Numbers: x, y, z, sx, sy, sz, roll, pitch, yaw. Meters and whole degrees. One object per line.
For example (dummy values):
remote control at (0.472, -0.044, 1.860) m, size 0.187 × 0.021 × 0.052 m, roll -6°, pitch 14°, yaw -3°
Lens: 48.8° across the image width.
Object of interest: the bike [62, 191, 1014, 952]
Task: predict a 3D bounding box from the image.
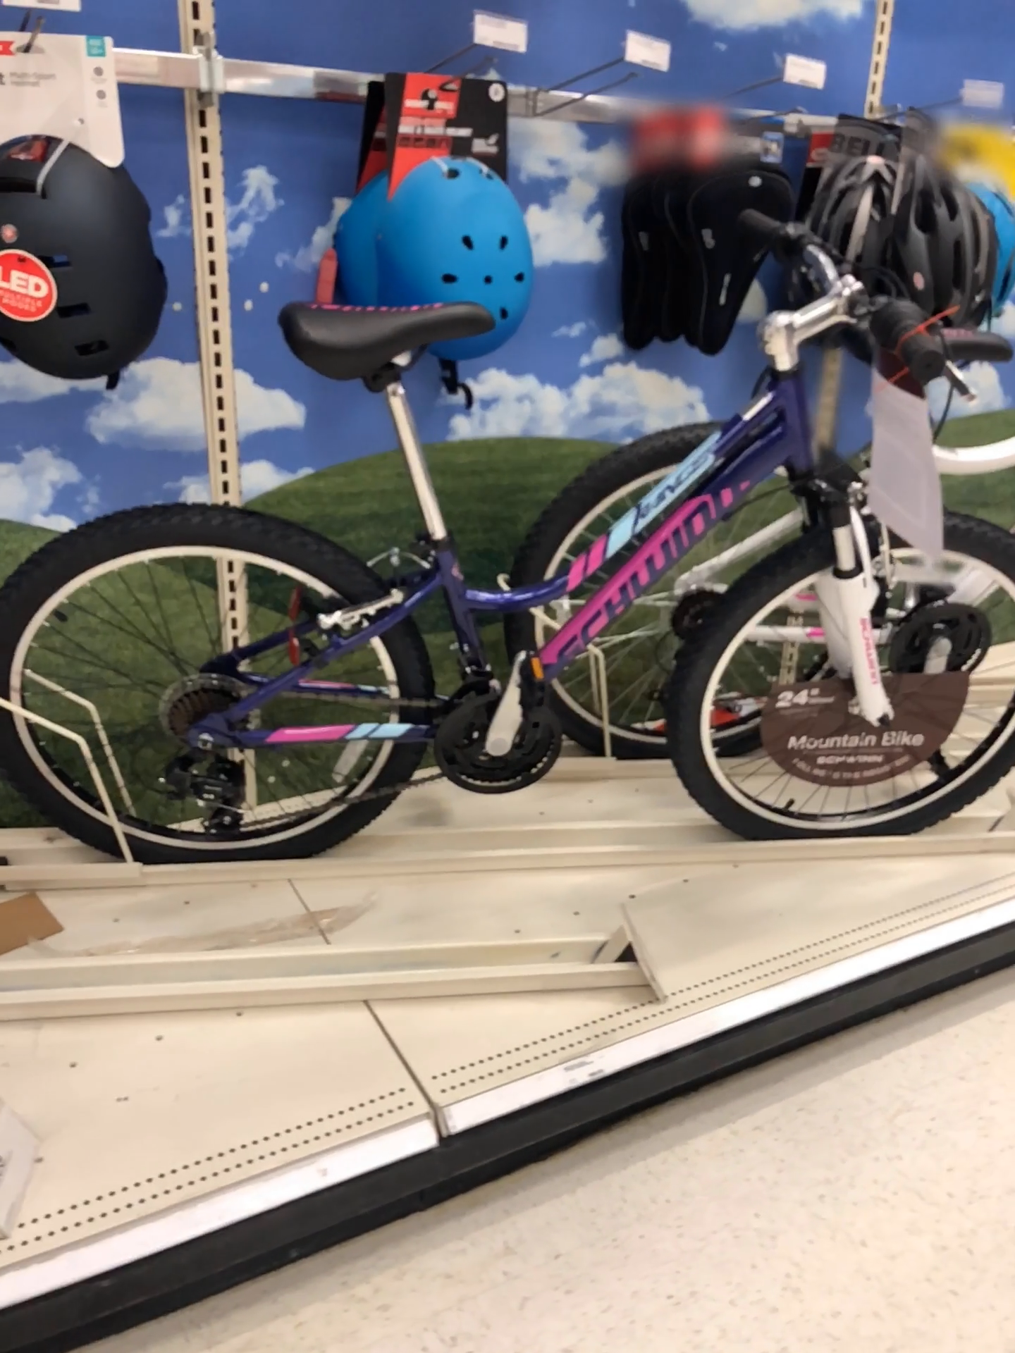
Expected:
bike at (0.201, -0.165, 1.412) m, size 1.222 × 0.799 × 0.570 m, roll 0°, pitch 22°, yaw -2°
